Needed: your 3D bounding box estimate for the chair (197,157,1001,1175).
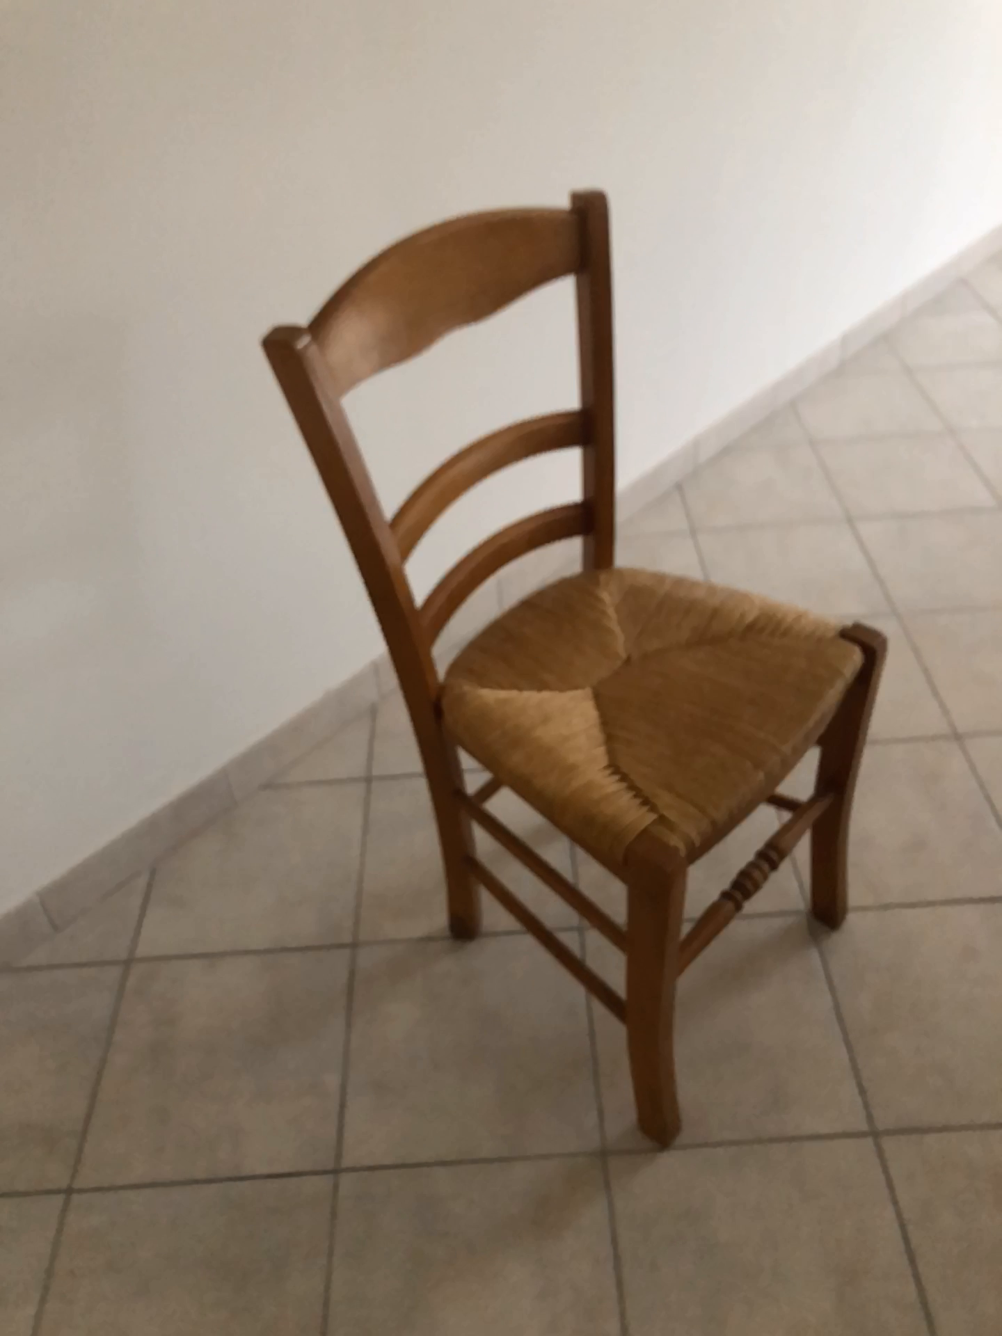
[{"bbox_3d":[0.117,0.001,1.157,0.500,0.825,0.452,27,50,32],"label":"chair"}]
